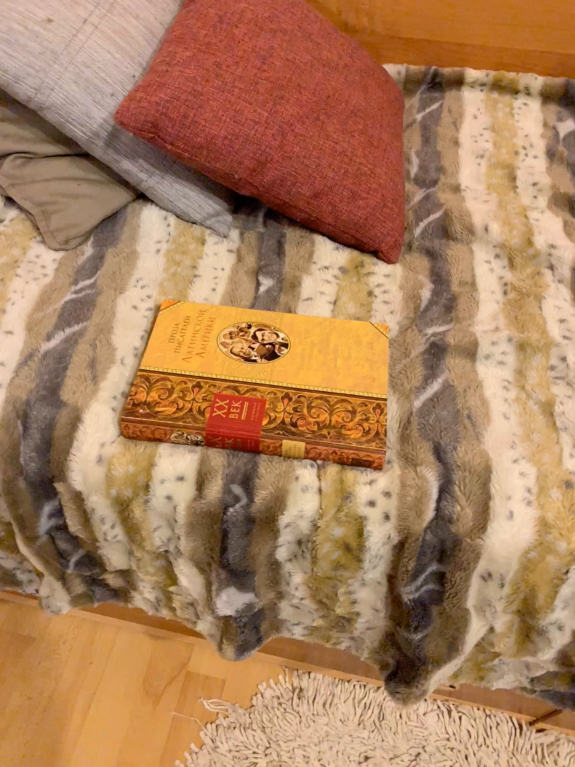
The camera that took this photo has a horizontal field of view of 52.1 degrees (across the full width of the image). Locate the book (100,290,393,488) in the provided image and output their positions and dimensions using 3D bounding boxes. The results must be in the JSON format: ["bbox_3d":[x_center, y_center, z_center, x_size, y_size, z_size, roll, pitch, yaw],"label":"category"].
[{"bbox_3d":[-0.031,-0.001,0.618,0.270,0.060,0.181,6,53,4],"label":"book"}]
